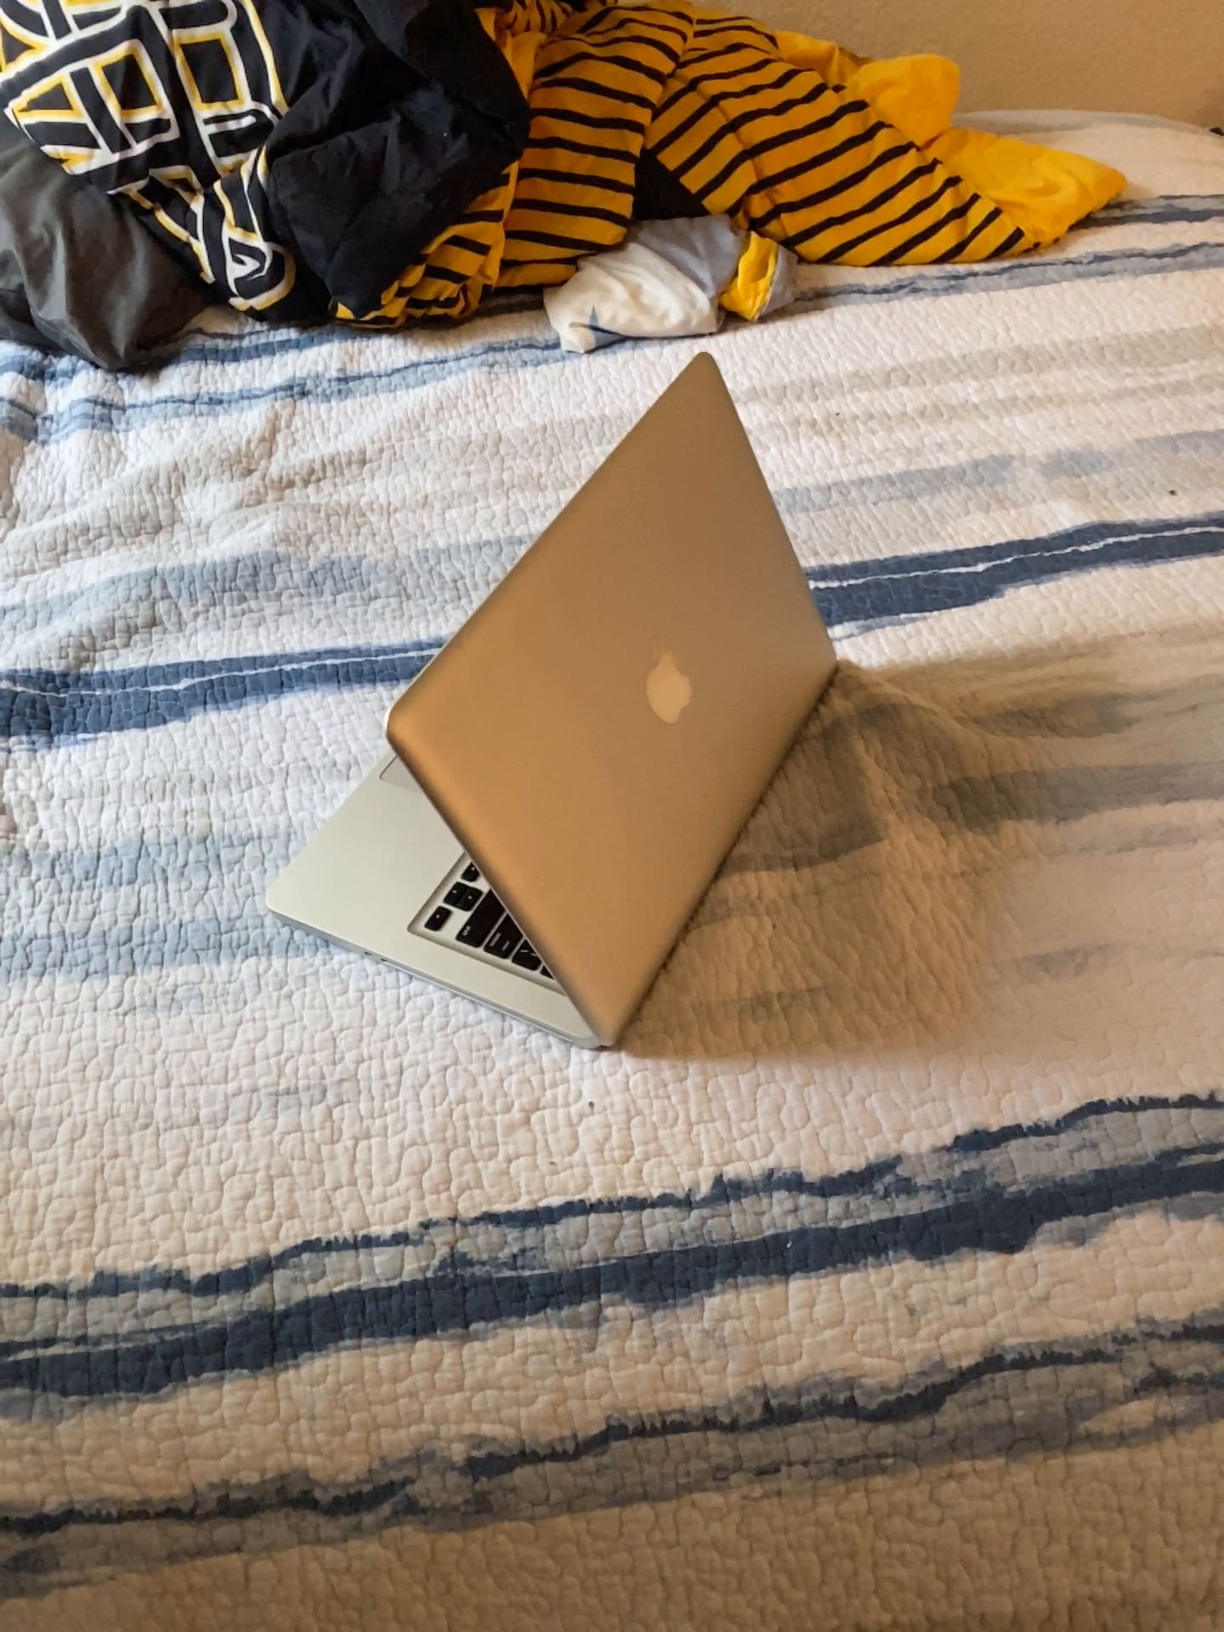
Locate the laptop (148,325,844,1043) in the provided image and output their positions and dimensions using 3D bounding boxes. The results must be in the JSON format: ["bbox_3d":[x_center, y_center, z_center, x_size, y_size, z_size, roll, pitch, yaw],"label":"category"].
[{"bbox_3d":[-0.038,-0.090,0.692,0.220,0.191,0.316,19,54,22],"label":"laptop"}]
